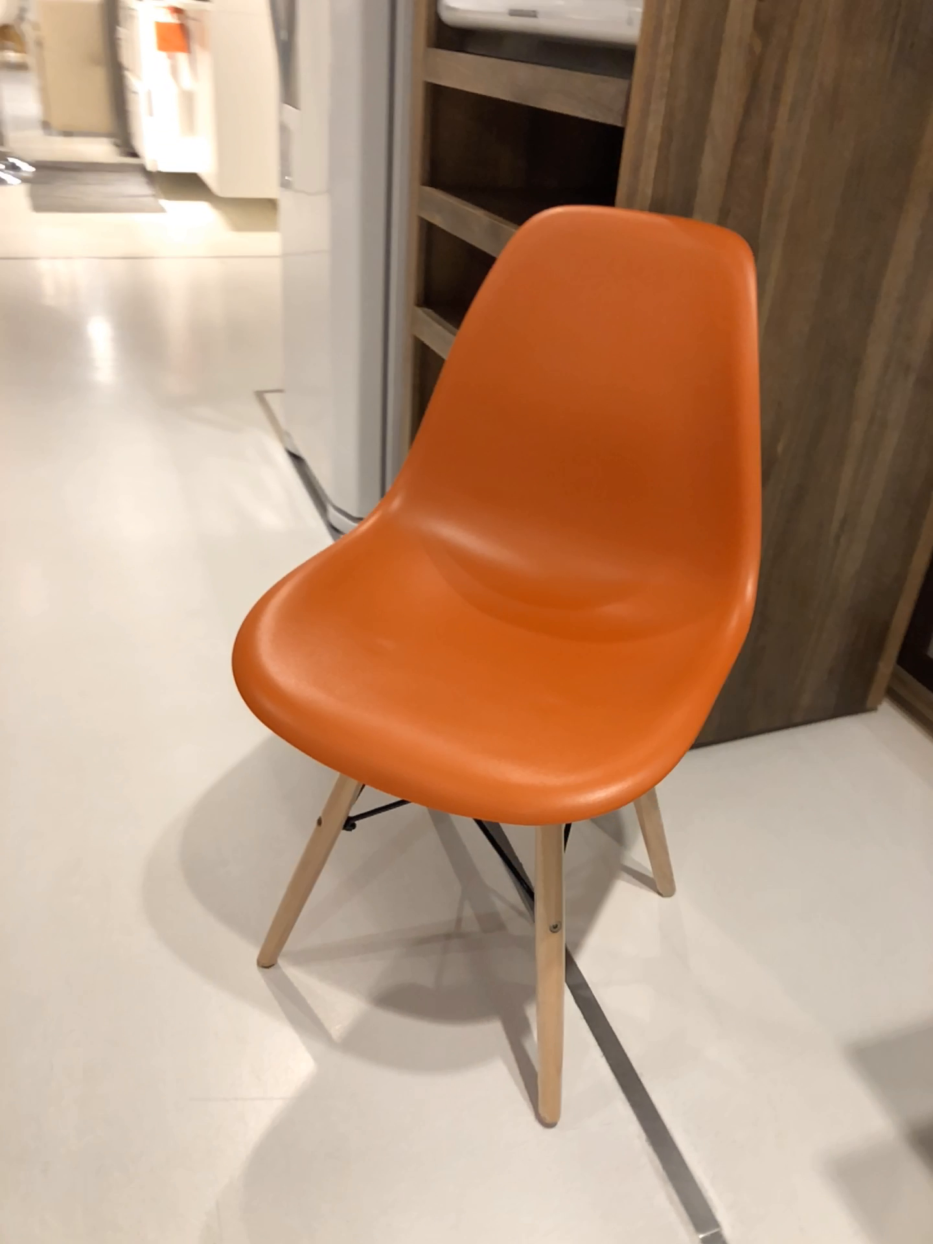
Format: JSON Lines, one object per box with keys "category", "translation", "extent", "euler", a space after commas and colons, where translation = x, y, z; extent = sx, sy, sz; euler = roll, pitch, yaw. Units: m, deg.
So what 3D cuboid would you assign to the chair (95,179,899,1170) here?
{"category": "chair", "translation": [0.050, -0.005, 1.088], "extent": [0.491, 0.744, 0.584], "euler": [19, 34, 23]}
